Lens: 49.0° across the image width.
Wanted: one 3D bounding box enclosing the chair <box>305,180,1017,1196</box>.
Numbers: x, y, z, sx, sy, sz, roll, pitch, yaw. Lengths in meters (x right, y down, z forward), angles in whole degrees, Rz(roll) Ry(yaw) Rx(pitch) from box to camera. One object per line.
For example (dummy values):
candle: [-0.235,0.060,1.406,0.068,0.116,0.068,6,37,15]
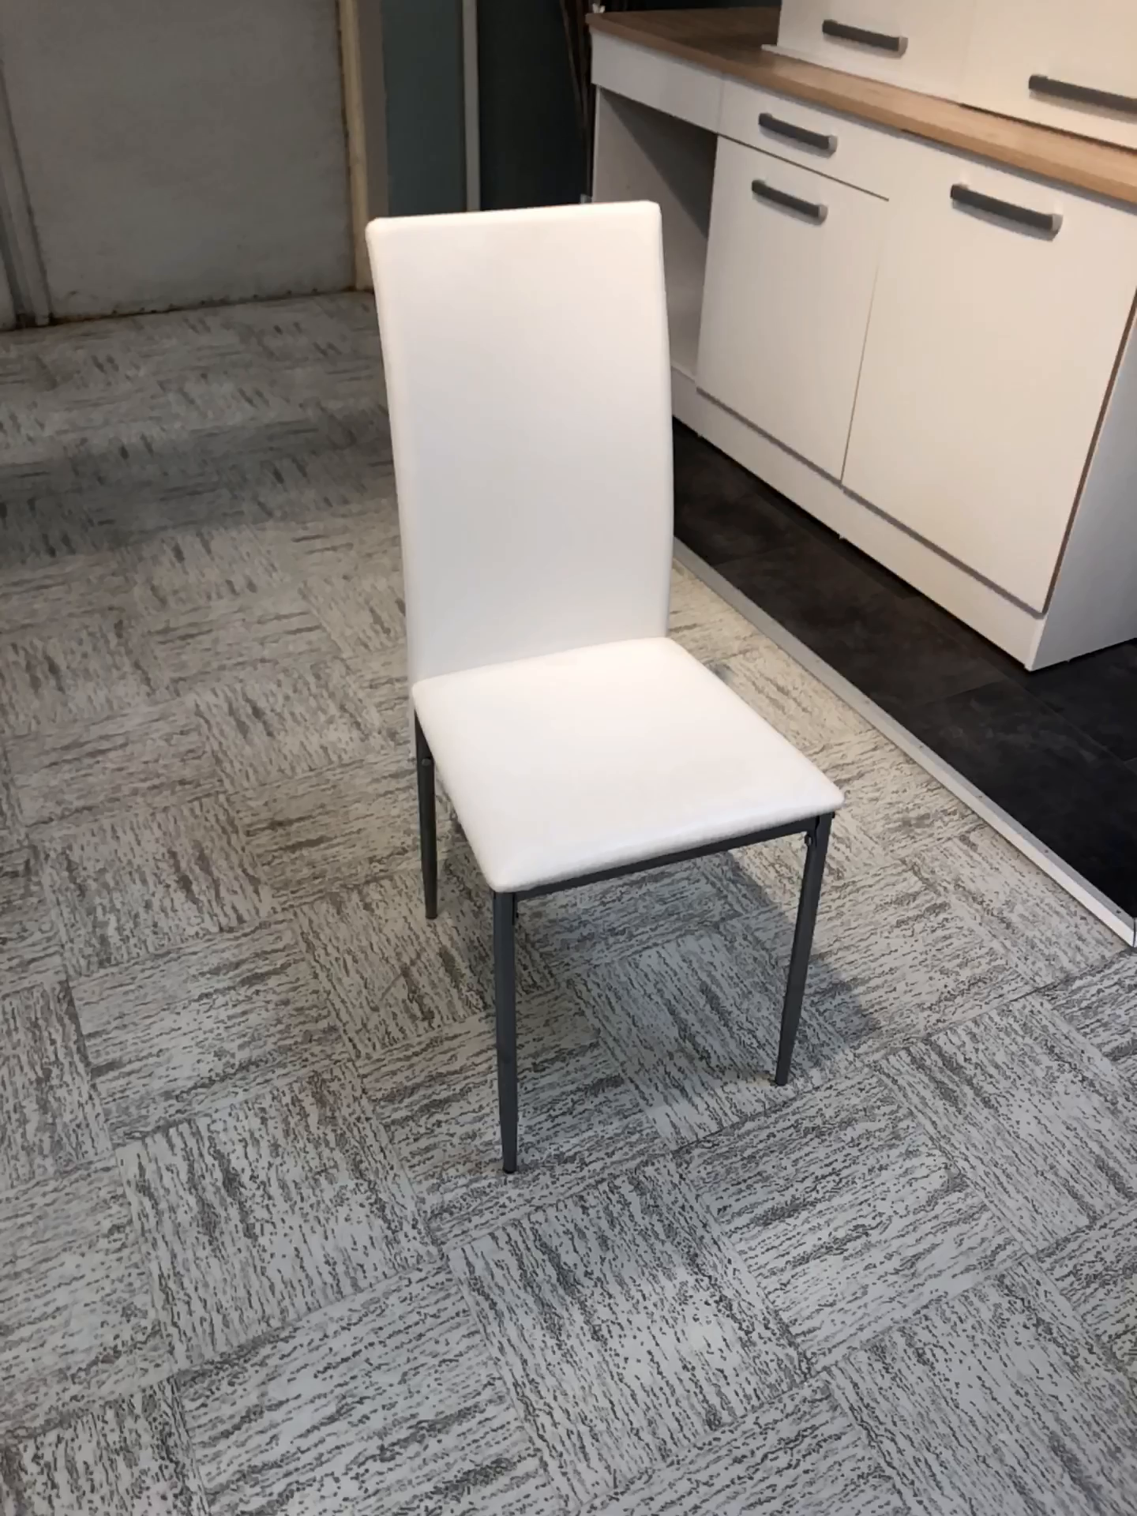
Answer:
chair: [0.028,-0.076,1.423,0.471,0.944,0.552,-11,39,-17]
